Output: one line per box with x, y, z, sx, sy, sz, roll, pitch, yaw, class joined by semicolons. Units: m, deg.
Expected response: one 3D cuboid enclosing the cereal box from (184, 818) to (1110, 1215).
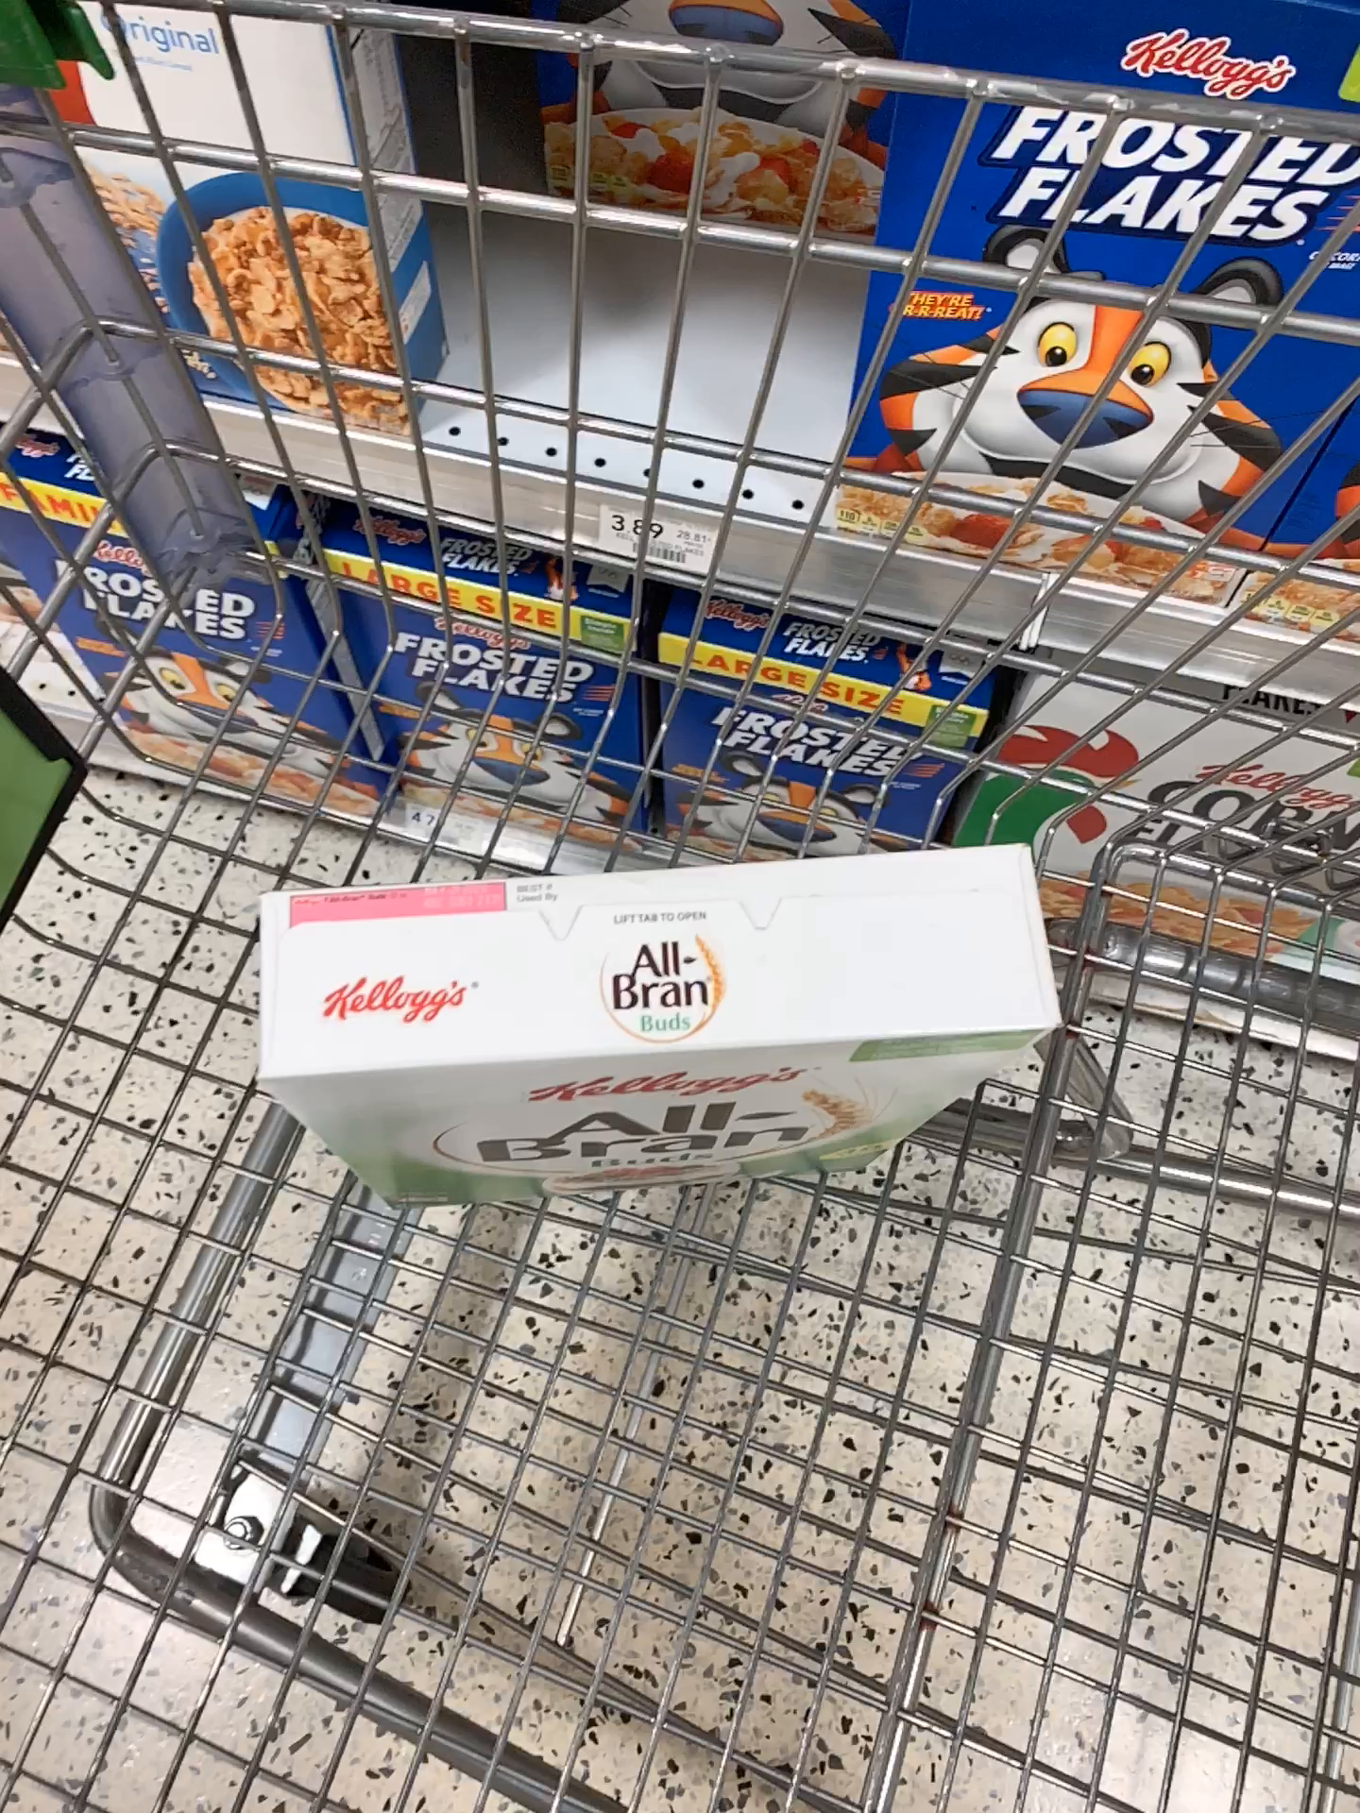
-0.013;0.054;0.451;0.200;0.299;0.050;-3;73;-4;cereal box
